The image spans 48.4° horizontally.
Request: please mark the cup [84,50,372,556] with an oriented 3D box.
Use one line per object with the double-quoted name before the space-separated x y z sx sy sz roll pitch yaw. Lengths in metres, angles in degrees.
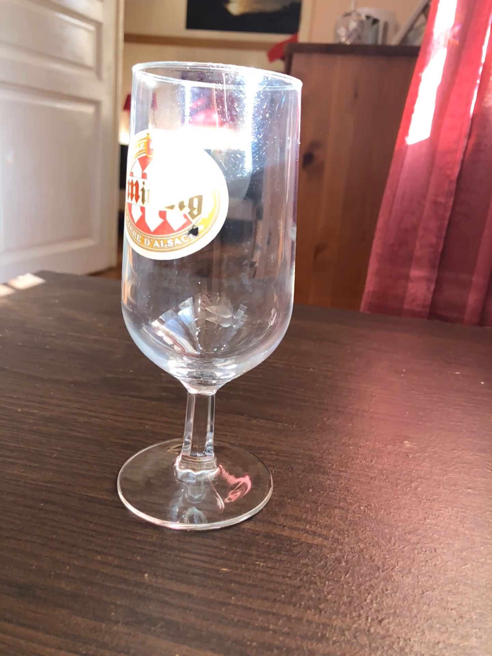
"cup" -0.011 -0.012 0.209 0.067 0.155 0.070 5 17 -2
